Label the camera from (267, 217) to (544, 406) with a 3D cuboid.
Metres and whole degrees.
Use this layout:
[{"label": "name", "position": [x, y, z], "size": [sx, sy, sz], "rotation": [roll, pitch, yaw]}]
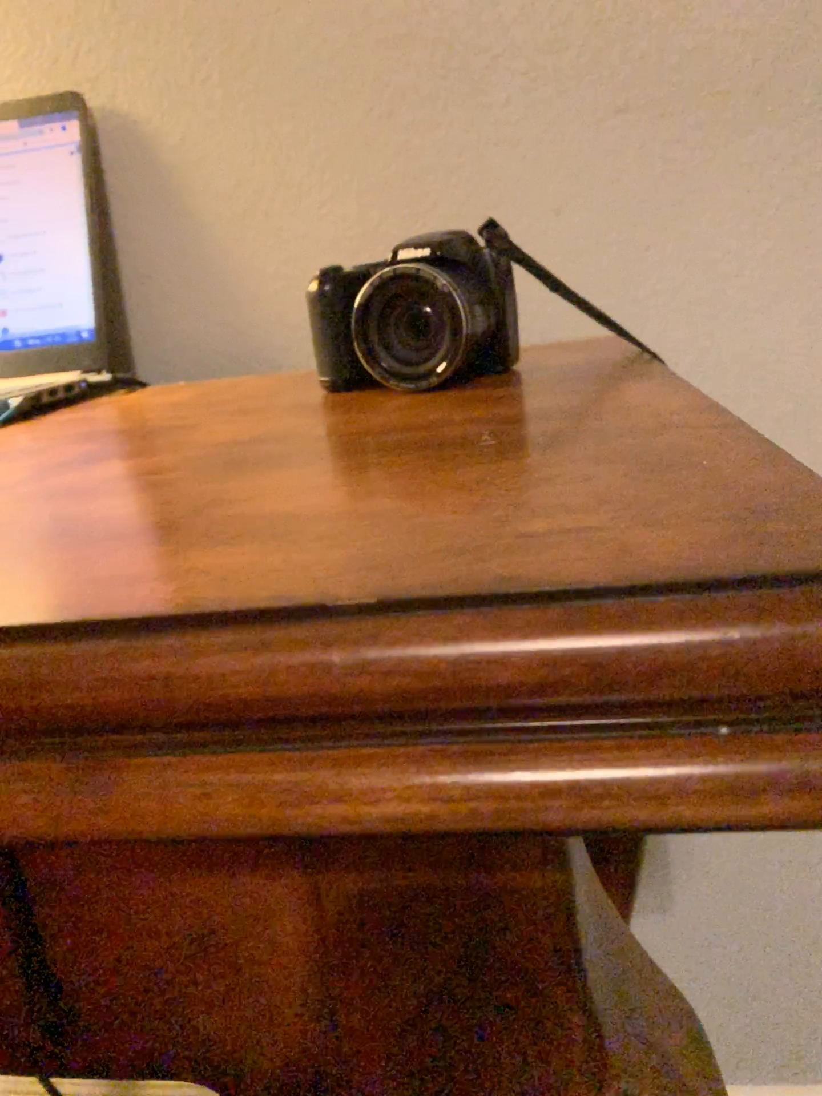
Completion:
[{"label": "camera", "position": [0.004, -0.136, 0.490], "size": [0.110, 0.081, 0.123], "rotation": [0, 17, 24]}]
